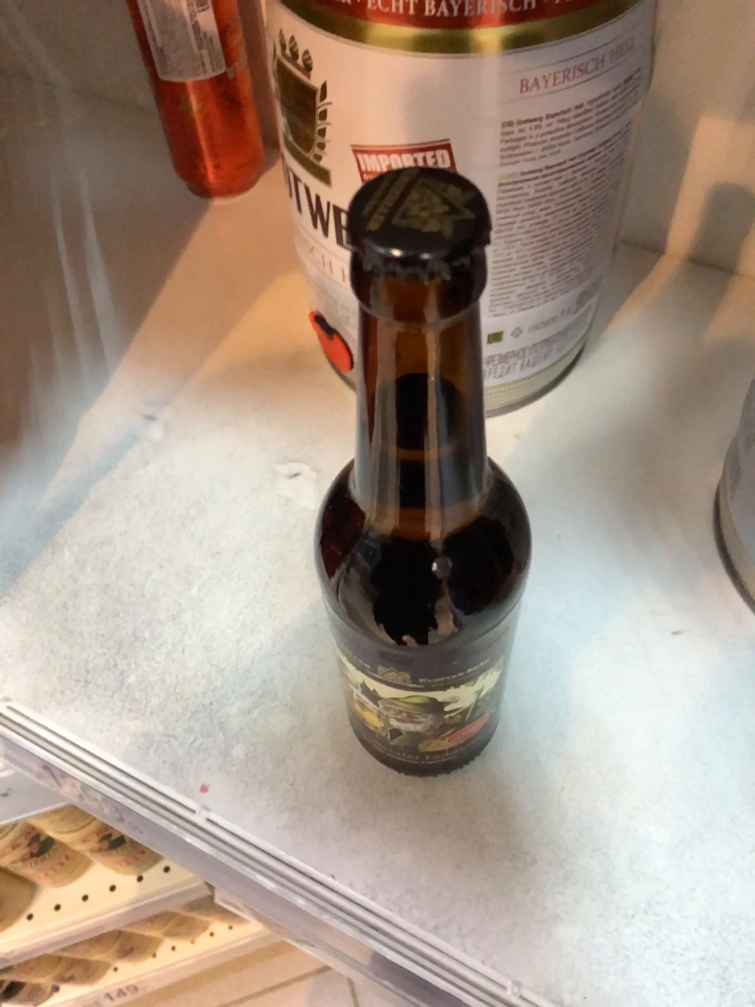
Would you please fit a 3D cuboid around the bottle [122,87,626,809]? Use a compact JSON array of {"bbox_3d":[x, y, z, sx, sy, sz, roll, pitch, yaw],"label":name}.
[{"bbox_3d":[0.009,0.018,0.259,0.071,0.257,0.064,20,61,17],"label":"bottle"}]
